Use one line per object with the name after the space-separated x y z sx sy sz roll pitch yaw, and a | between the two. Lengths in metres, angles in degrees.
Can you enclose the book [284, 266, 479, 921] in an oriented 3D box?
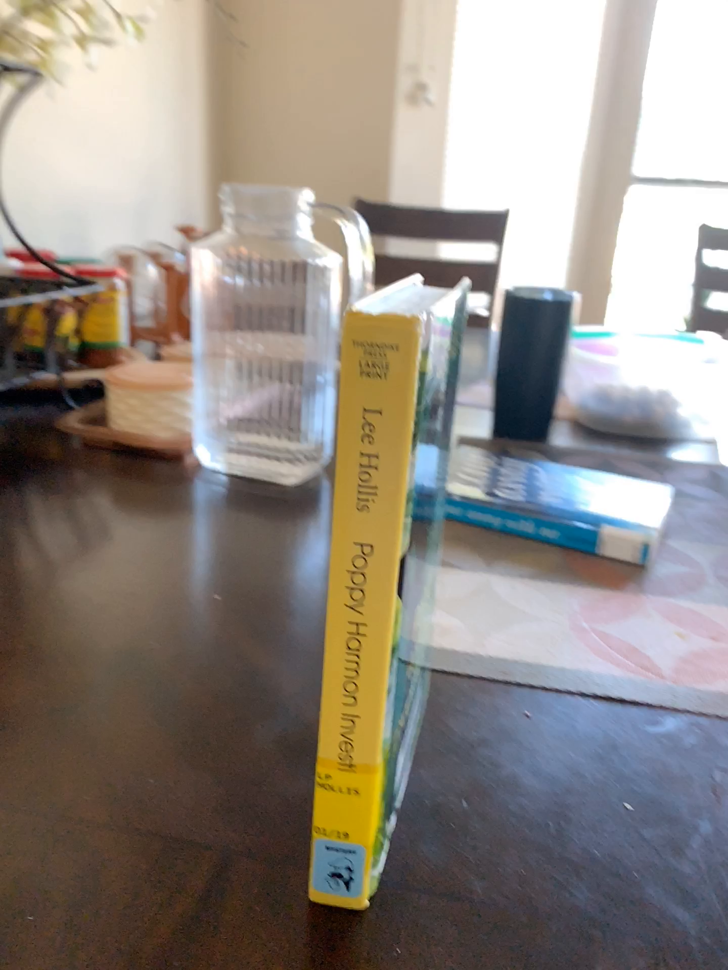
0.011 0.029 0.313 0.040 0.220 0.154 7 21 11 | book
